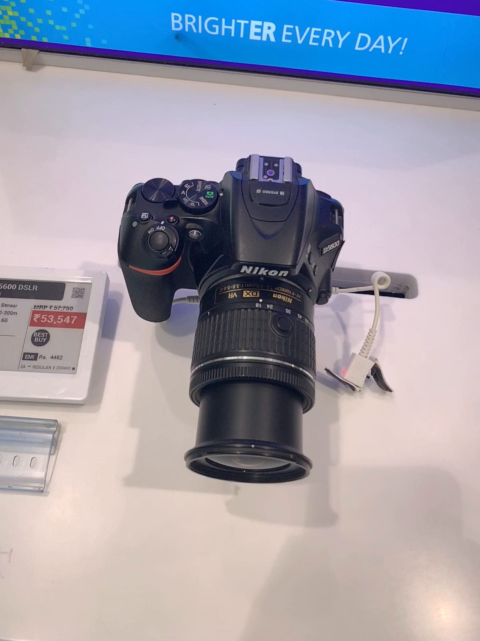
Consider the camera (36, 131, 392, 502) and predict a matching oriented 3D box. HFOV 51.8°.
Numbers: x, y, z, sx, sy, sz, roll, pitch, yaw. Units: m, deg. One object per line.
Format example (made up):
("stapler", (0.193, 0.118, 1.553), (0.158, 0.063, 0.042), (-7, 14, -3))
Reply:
("camera", (-0.007, 0.001, 0.240), (0.116, 0.100, 0.141), (4, 60, -1))
